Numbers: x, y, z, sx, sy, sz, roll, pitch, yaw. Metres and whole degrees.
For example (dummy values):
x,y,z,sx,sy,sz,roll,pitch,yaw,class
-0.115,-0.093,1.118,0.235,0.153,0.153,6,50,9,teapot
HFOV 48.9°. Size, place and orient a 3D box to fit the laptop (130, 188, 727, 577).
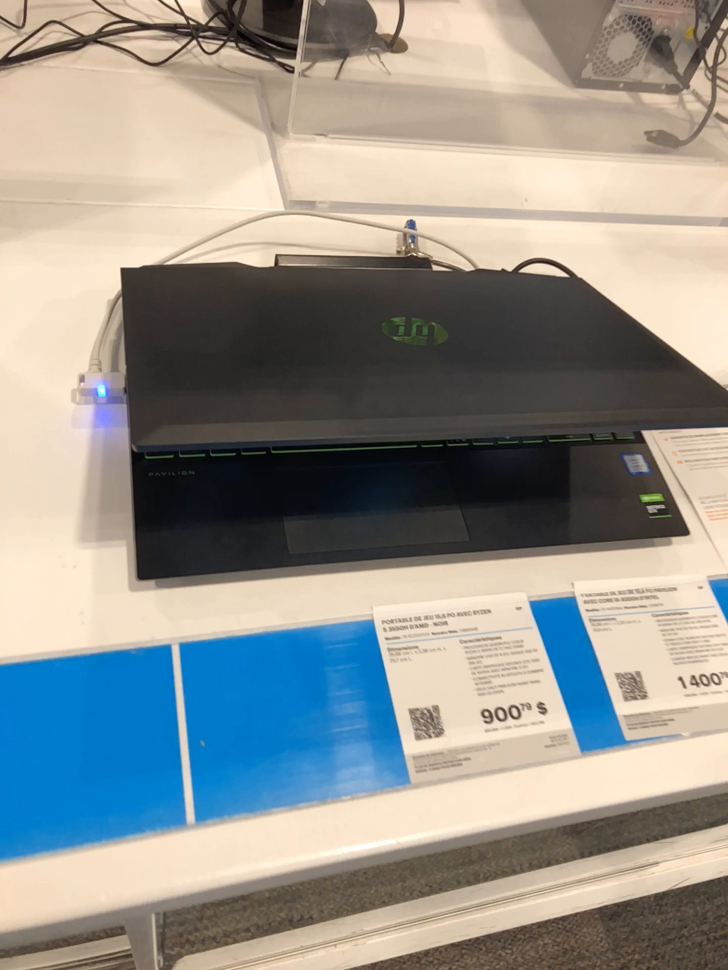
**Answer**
x,y,z,sx,sy,sz,roll,pitch,yaw,class
0.034,-0.076,0.507,0.339,0.064,0.221,-4,61,-17,laptop
